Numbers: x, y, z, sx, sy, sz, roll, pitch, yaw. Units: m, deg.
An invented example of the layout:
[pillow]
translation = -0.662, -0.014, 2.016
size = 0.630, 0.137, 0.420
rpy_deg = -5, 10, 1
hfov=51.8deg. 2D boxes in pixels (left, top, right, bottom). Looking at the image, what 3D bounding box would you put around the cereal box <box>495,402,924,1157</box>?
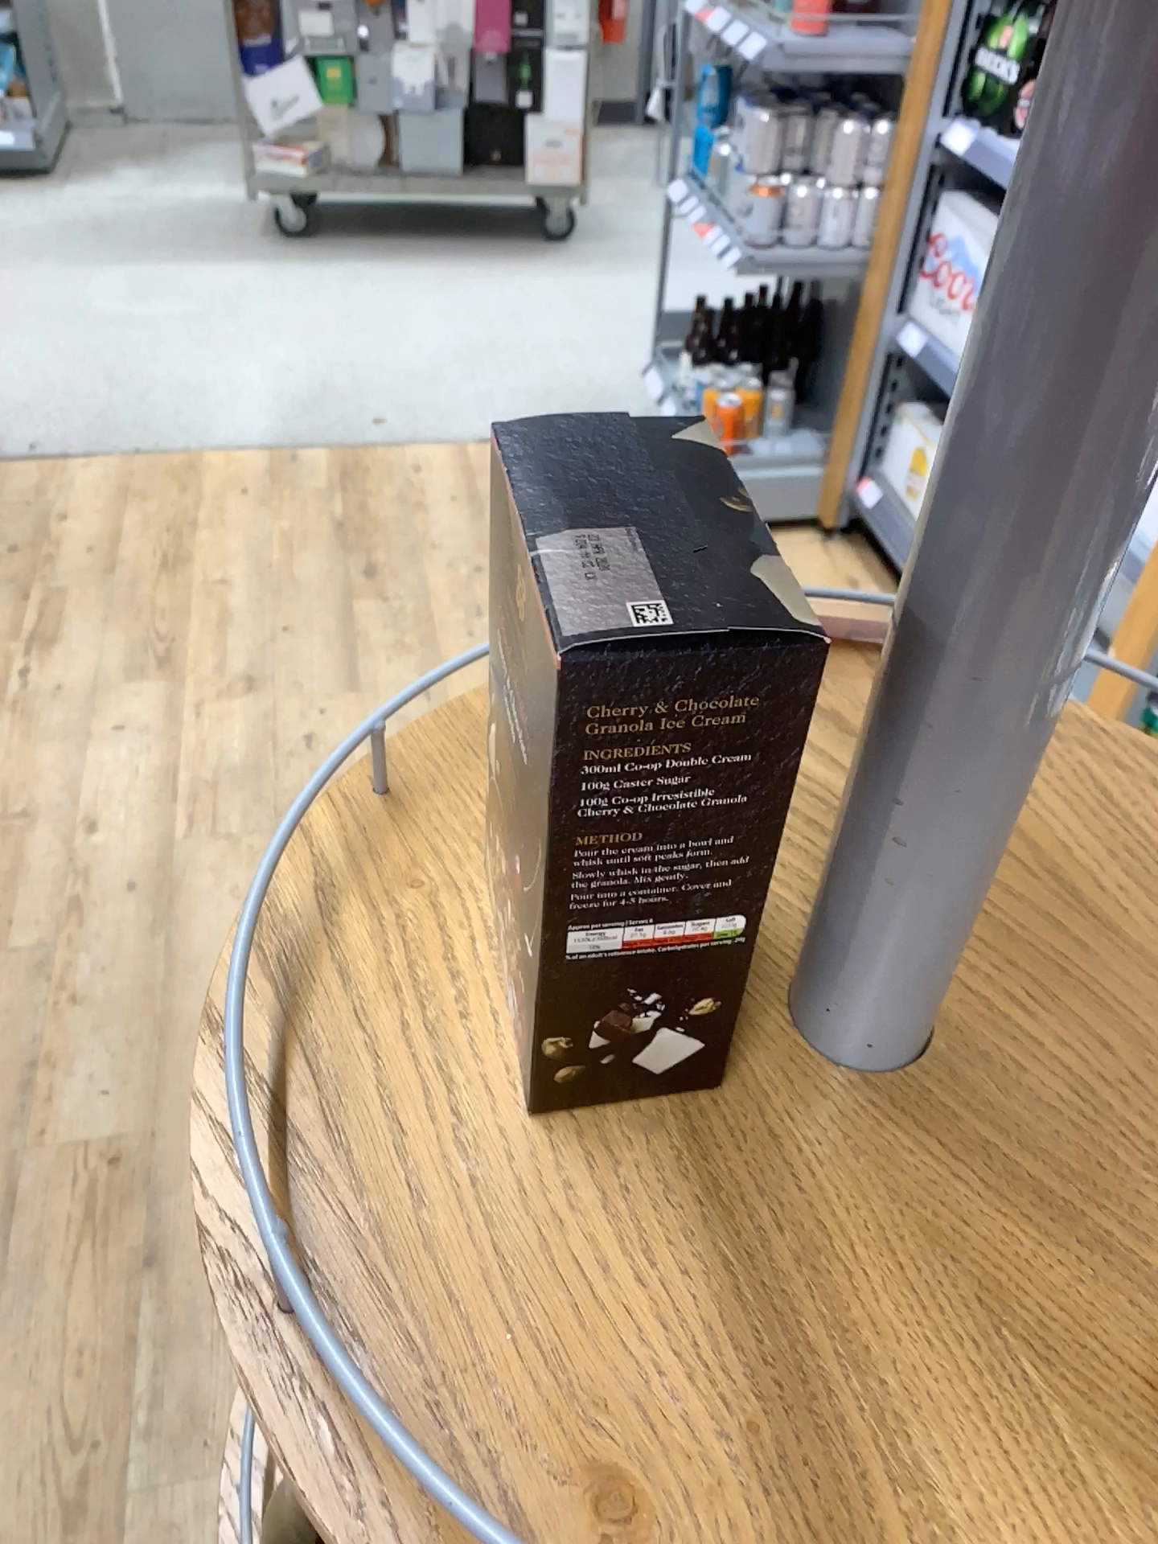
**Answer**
[cereal box]
translation = 0.025, 0.007, 0.416
size = 0.090, 0.218, 0.141
rpy_deg = -5, 42, -9
